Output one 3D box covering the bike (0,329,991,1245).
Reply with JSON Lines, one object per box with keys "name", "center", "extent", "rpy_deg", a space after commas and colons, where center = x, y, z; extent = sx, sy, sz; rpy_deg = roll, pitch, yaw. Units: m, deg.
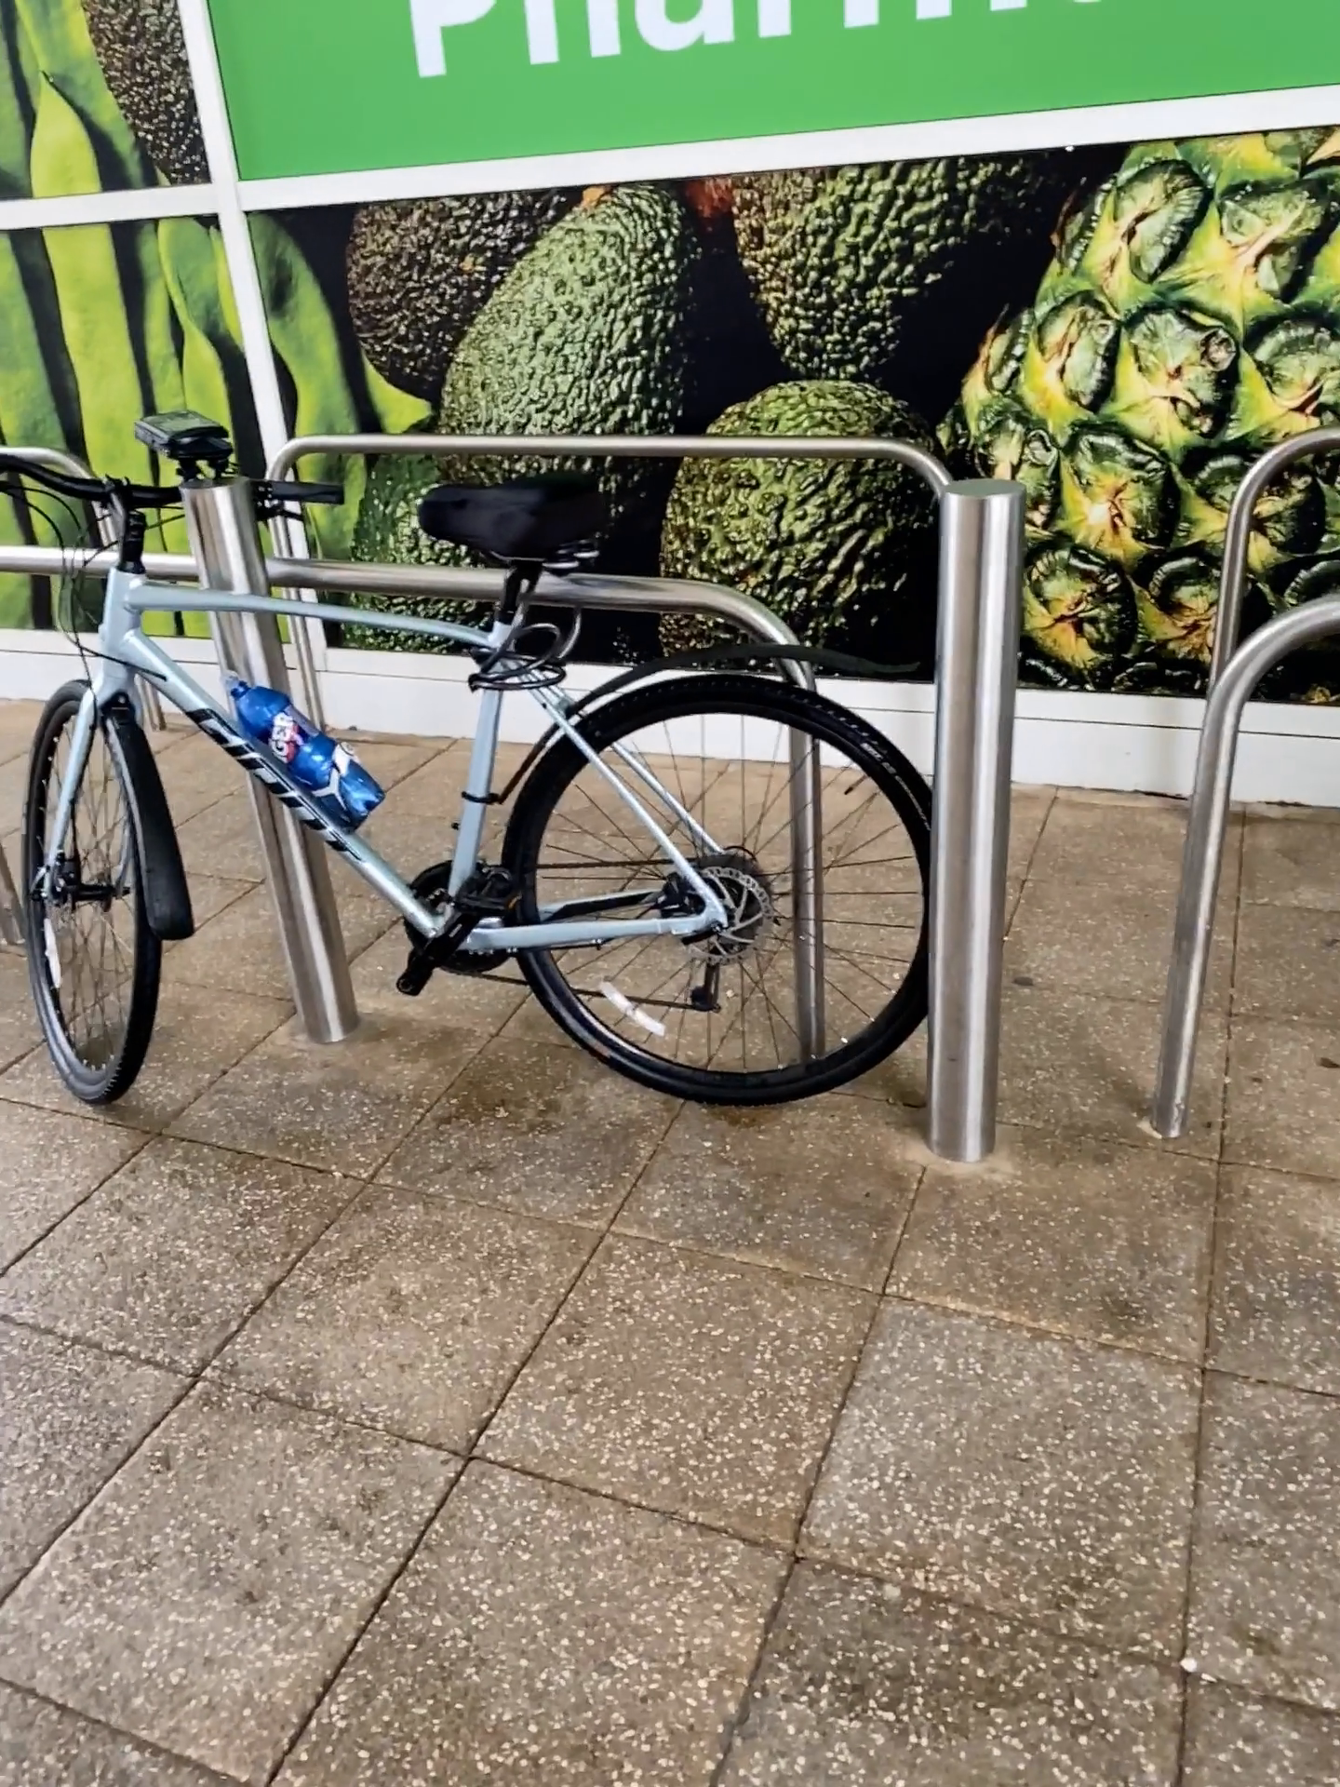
{"name": "bike", "center": [-0.322, -0.200, 1.869], "extent": [1.462, 0.962, 0.609], "rpy_deg": [4, 28, 15]}
